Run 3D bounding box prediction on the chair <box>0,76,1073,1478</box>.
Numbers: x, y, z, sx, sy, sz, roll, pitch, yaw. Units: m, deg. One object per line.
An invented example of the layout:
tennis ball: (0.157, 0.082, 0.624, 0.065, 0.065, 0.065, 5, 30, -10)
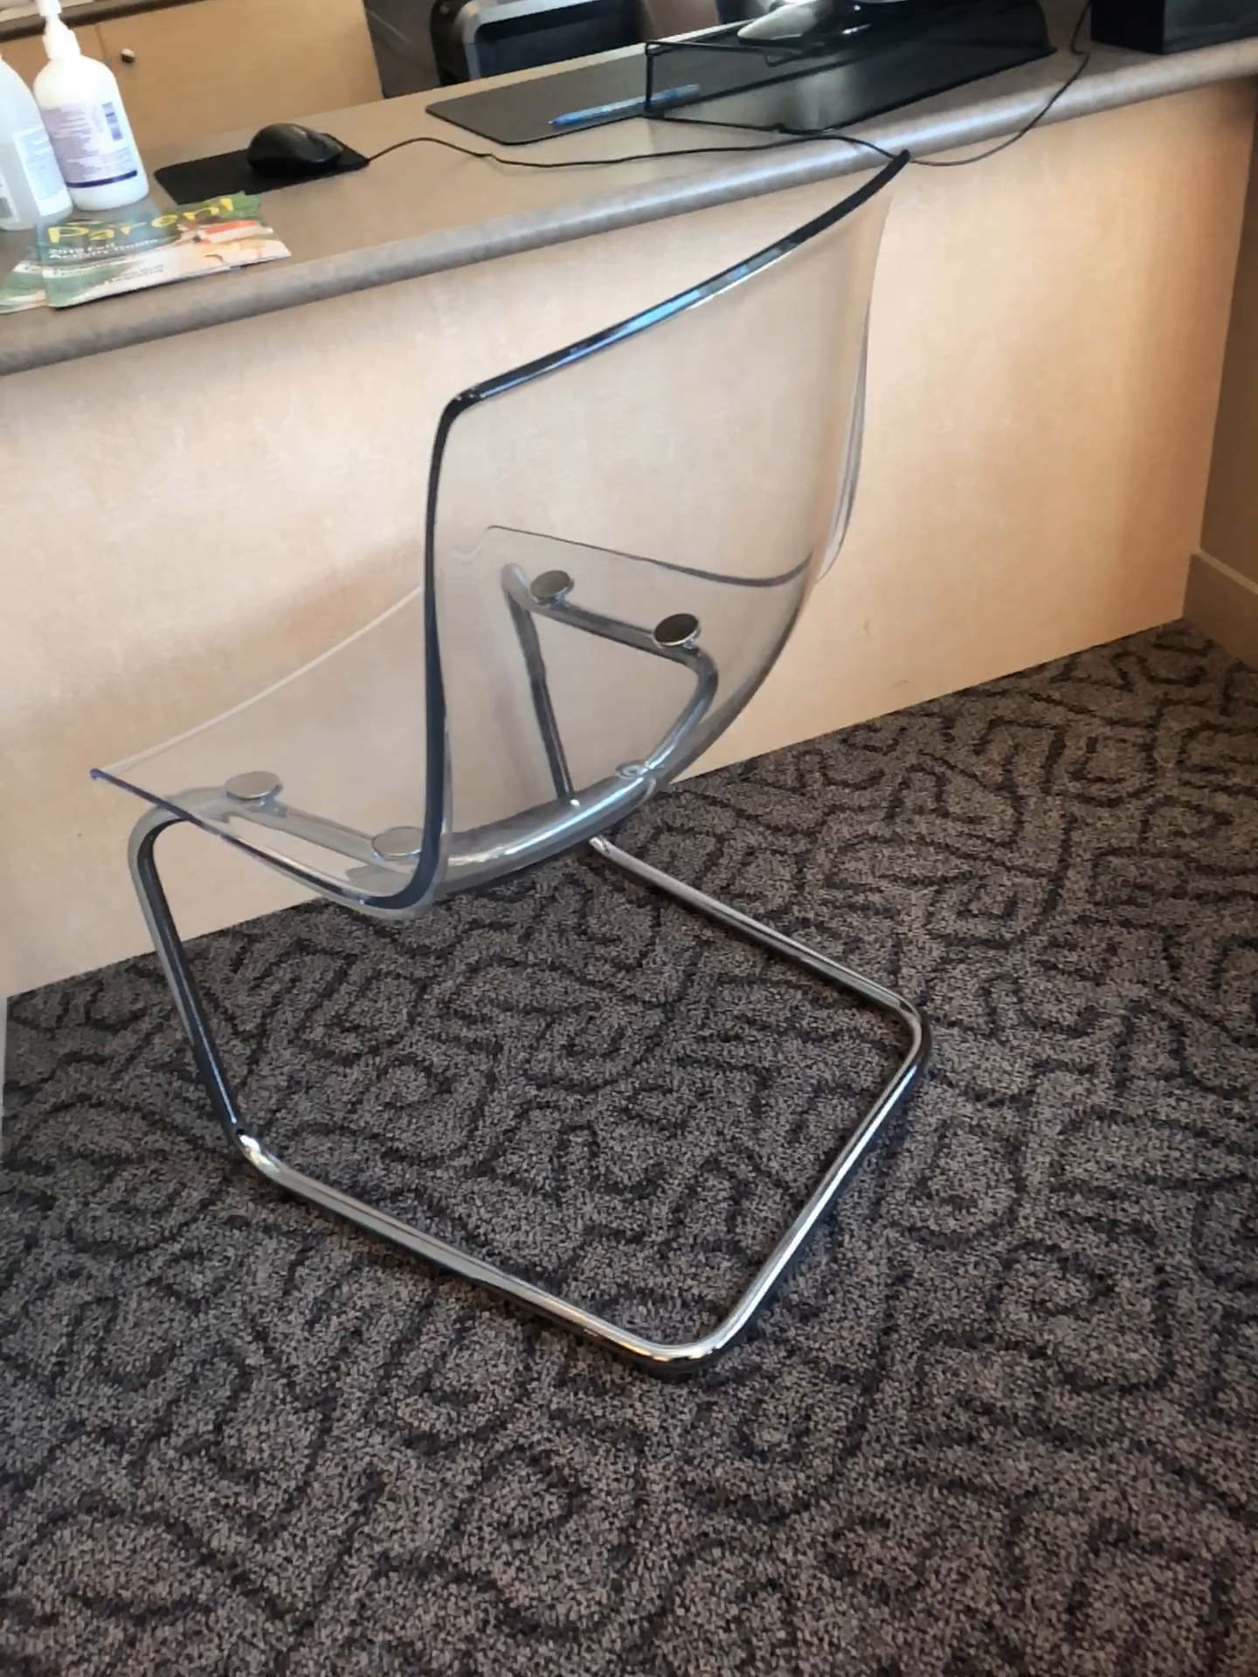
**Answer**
chair: (-0.093, -0.101, 1.122, 0.642, 0.804, 0.602, 19, 46, 33)
